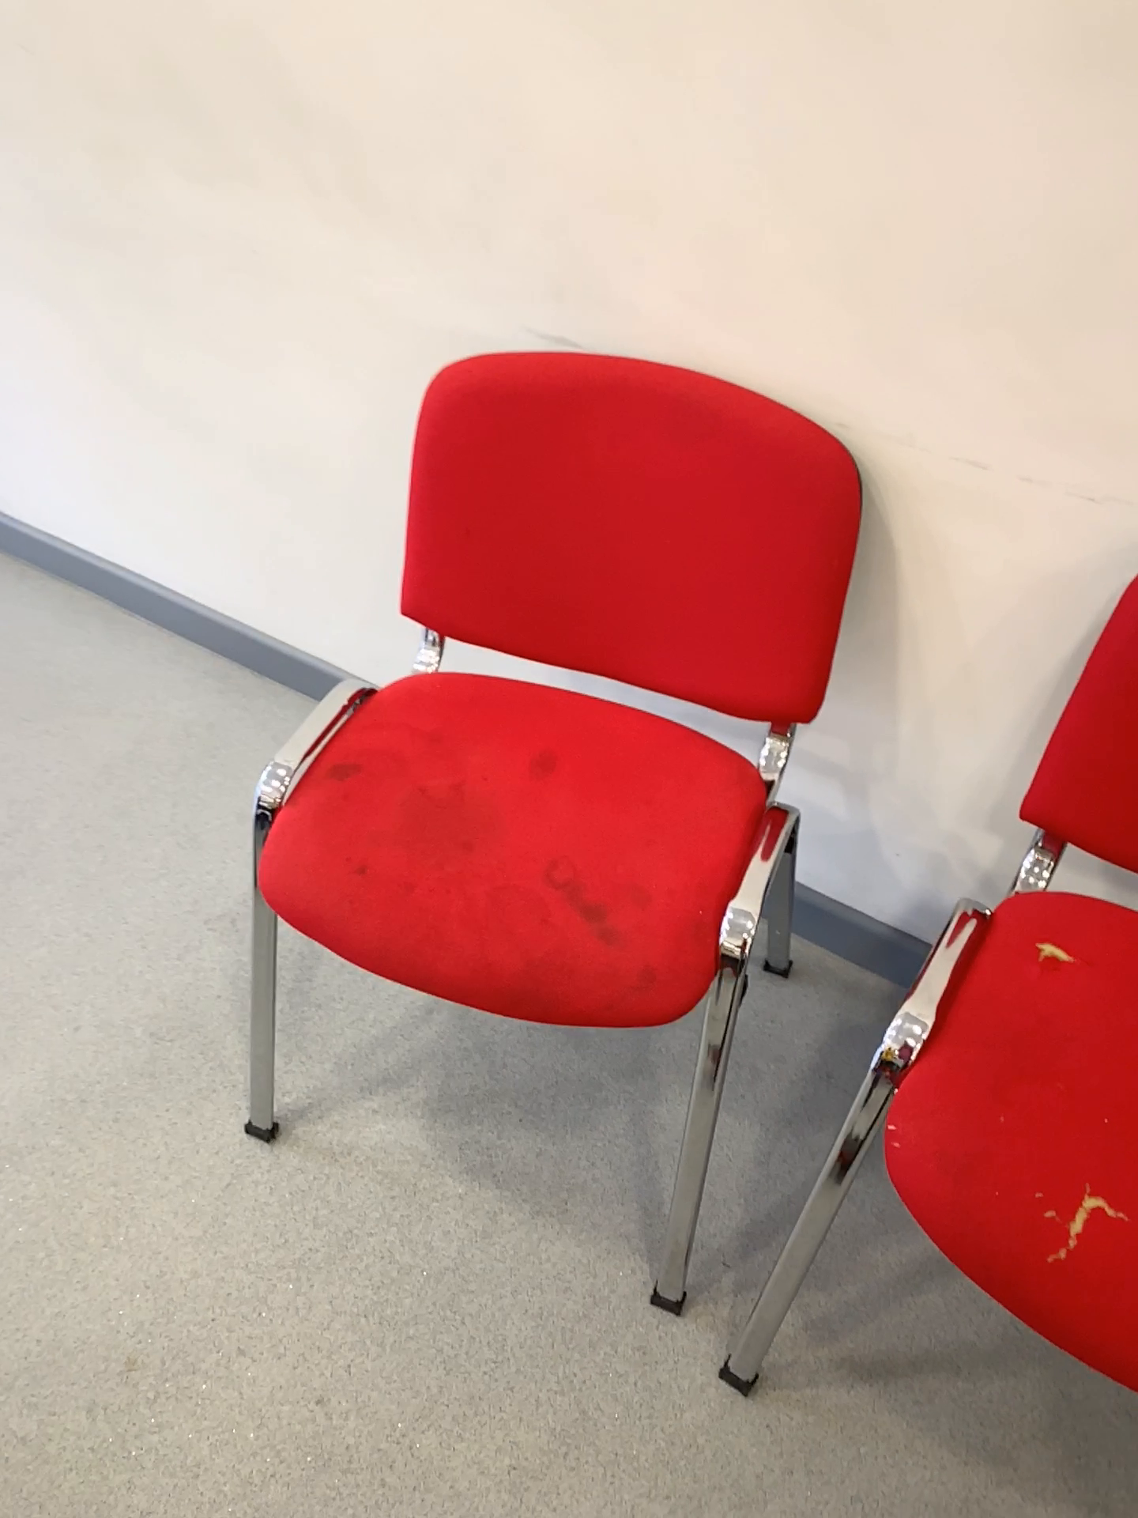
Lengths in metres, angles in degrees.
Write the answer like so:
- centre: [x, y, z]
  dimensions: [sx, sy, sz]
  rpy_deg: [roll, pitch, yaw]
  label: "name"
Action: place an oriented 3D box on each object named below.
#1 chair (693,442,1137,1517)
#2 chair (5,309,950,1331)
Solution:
- centre: [0.527, 0.294, 0.993]
  dimensions: [0.569, 0.792, 0.592]
  rpy_deg: [25, 50, 24]
  label: "chair"
- centre: [-0.026, 0.055, 1.265]
  dimensions: [0.598, 0.753, 0.633]
  rpy_deg: [16, 47, 16]
  label: "chair"
